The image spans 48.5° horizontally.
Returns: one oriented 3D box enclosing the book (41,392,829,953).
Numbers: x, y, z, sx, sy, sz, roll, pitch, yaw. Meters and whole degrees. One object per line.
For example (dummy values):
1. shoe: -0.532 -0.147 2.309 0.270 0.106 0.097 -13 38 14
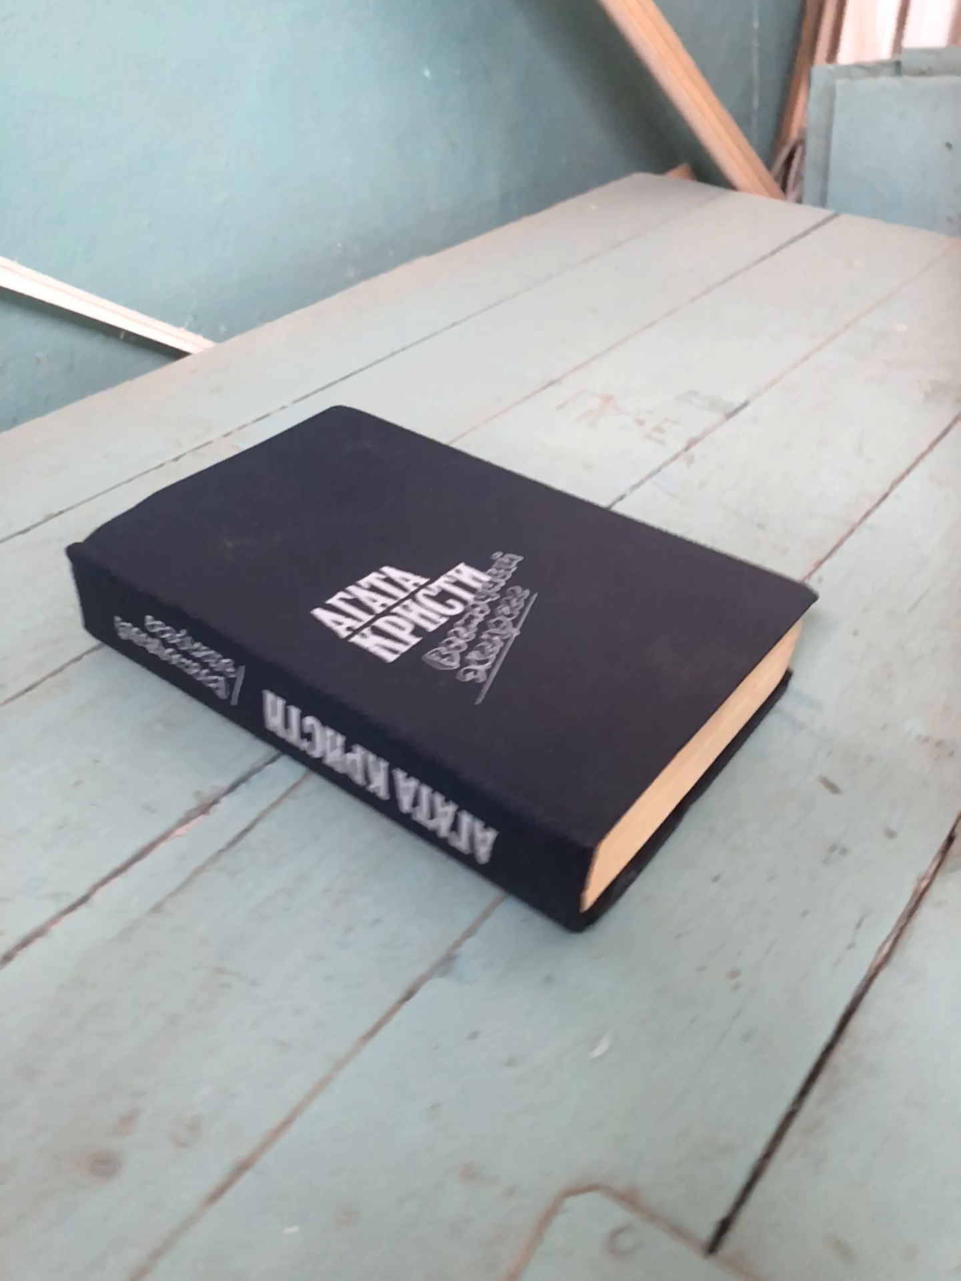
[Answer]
1. book: -0.016 -0.010 0.352 0.211 0.040 0.138 25 45 27
